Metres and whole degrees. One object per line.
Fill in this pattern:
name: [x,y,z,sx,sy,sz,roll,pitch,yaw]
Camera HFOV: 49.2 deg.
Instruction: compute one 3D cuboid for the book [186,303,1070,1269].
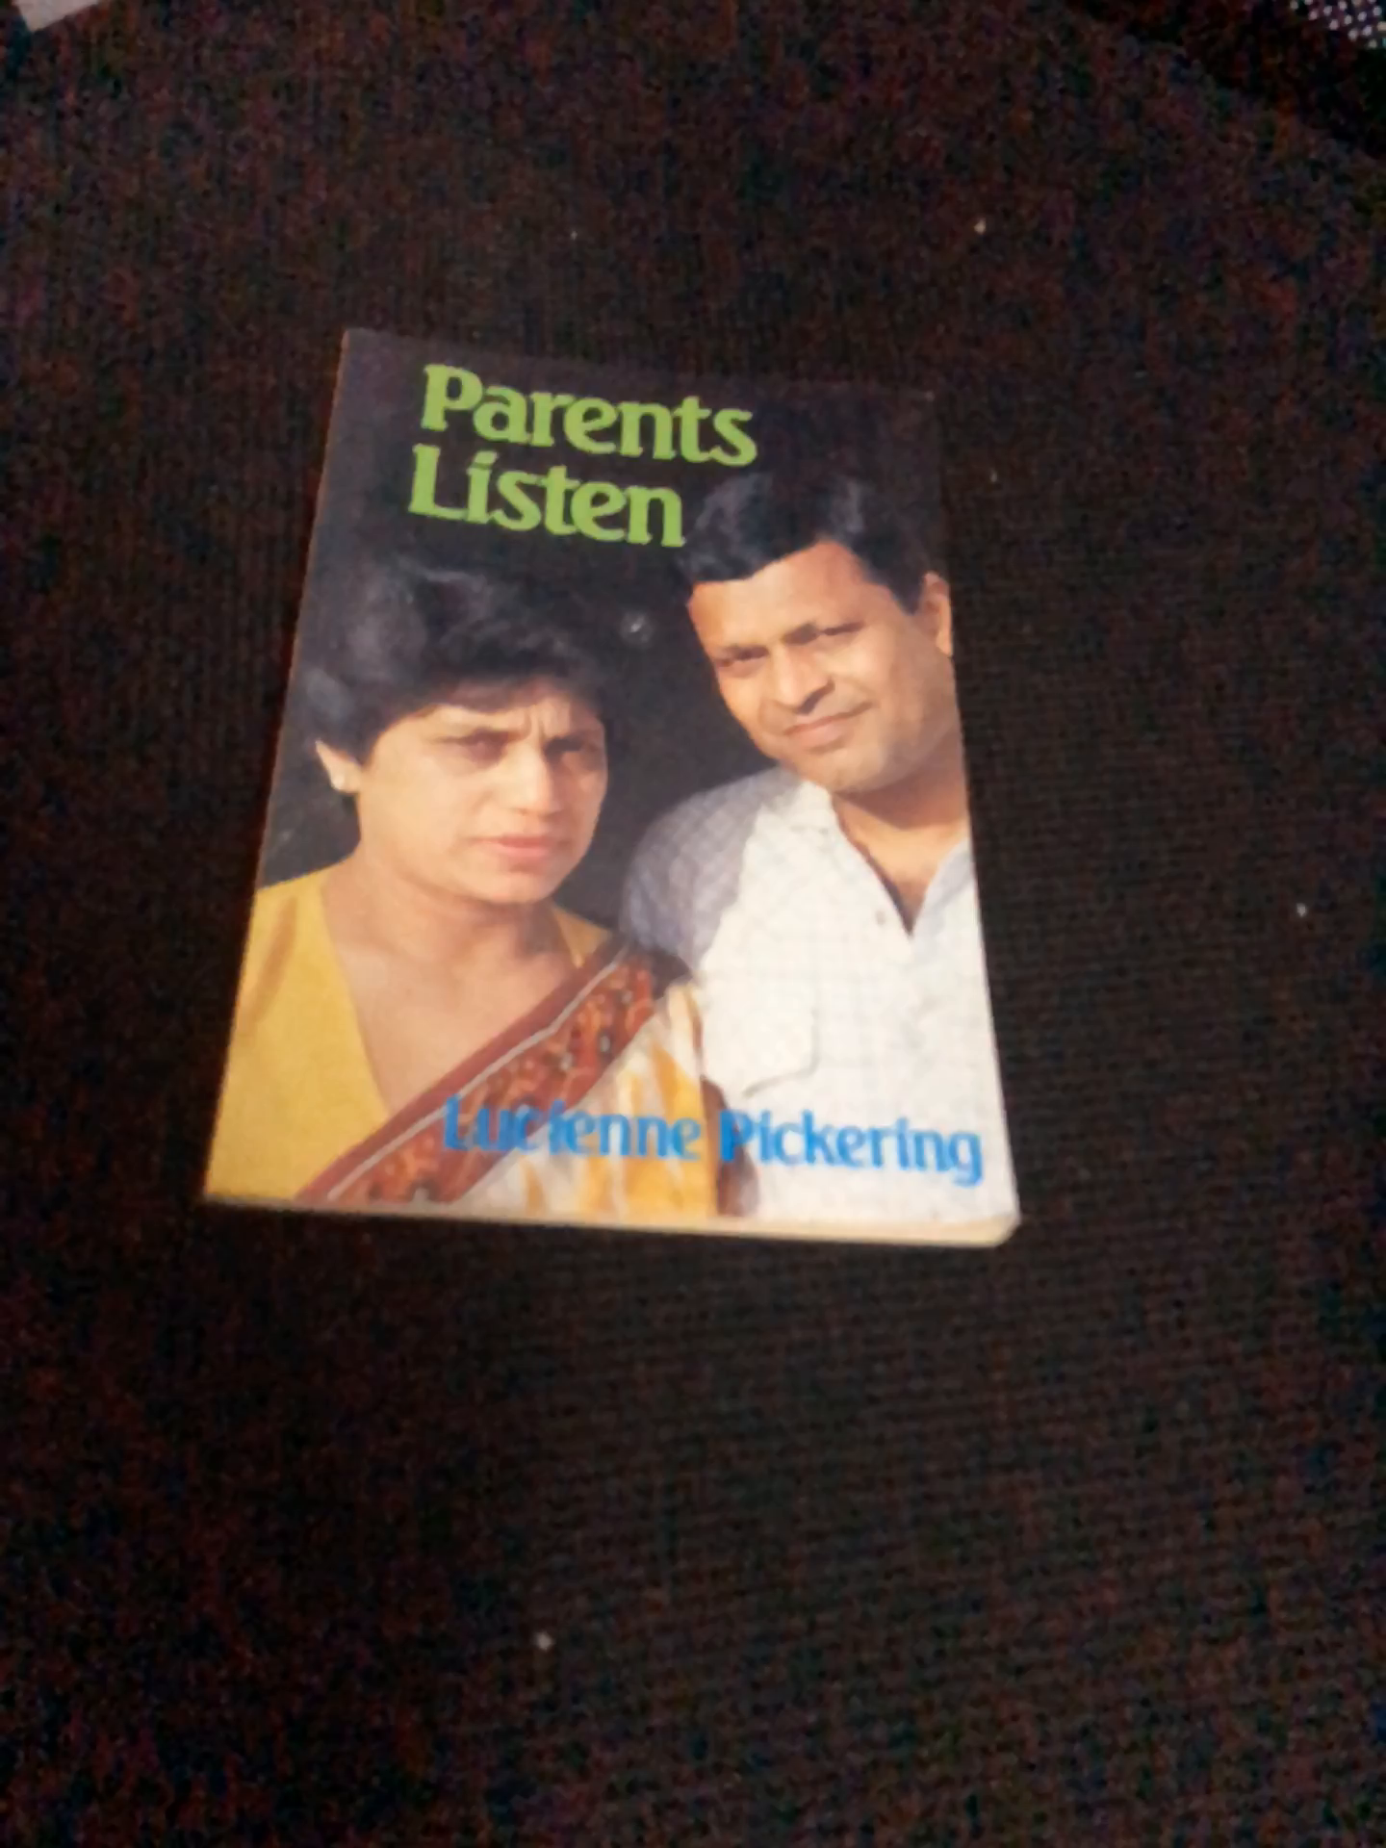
book: [-0.007,-0.036,0.273,0.130,0.010,0.191,5,60,-7]
